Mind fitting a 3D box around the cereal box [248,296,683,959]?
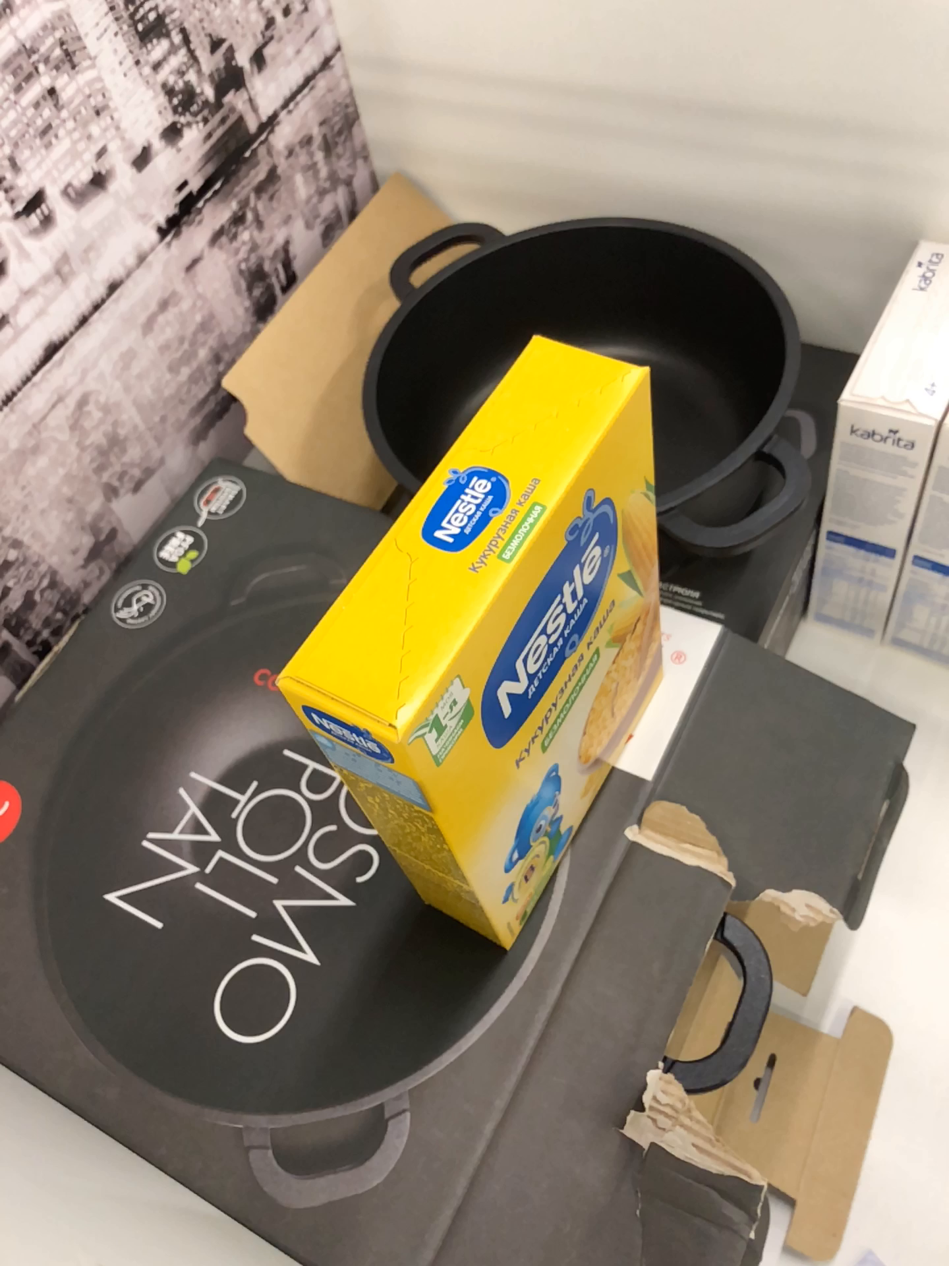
[{"bbox_3d":[0.018,0.012,0.379,0.050,0.199,0.150,23,66,24],"label":"cereal box"}]
